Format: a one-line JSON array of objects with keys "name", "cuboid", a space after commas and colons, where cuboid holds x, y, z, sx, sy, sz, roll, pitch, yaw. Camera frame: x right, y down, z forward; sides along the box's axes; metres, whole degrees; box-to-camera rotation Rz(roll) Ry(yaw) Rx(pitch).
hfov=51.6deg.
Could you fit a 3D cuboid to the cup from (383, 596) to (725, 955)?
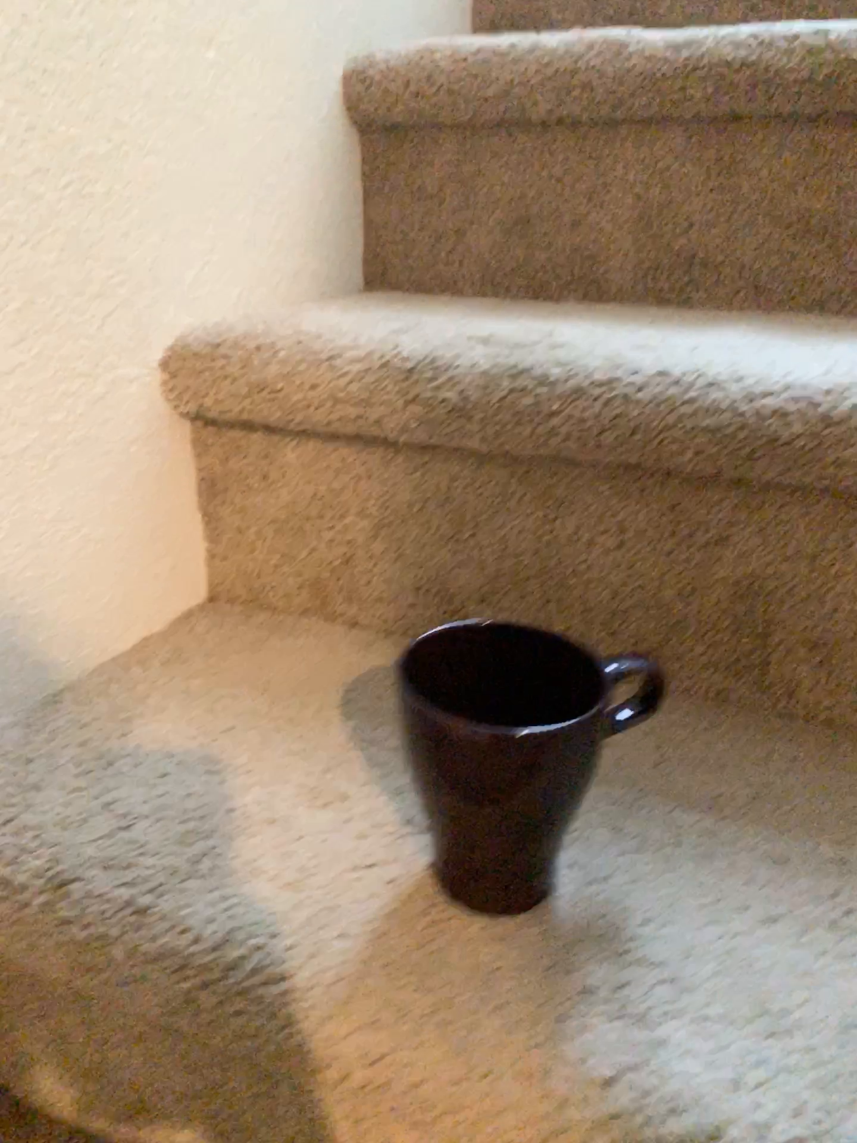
[{"name": "cup", "cuboid": [0.045, 0.078, 0.366, 0.110, 0.099, 0.081, -6, 22, -15]}]
